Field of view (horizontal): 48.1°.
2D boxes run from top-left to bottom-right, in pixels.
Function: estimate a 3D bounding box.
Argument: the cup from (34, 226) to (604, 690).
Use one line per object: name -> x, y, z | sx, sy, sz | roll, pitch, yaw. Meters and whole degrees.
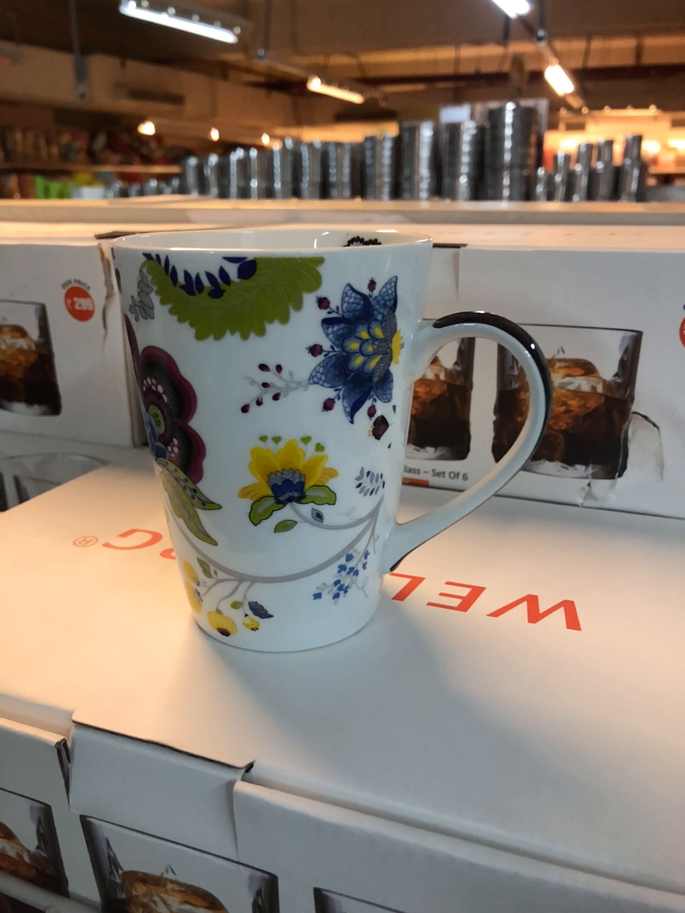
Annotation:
cup -> -0.002, -0.009, 0.212 | 0.120, 0.100, 0.080 | 3, 19, 9
